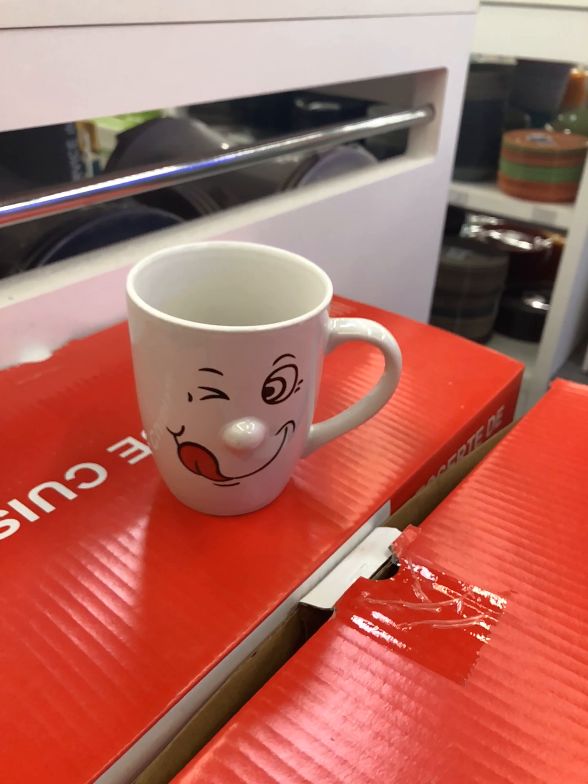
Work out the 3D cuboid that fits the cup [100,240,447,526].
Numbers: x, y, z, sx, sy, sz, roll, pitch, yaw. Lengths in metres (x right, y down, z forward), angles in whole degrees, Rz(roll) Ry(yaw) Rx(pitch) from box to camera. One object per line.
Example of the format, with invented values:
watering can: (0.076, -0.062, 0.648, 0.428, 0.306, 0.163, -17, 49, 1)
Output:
cup: (-0.011, -0.008, 0.296, 0.123, 0.092, 0.093, -1, 31, -5)
